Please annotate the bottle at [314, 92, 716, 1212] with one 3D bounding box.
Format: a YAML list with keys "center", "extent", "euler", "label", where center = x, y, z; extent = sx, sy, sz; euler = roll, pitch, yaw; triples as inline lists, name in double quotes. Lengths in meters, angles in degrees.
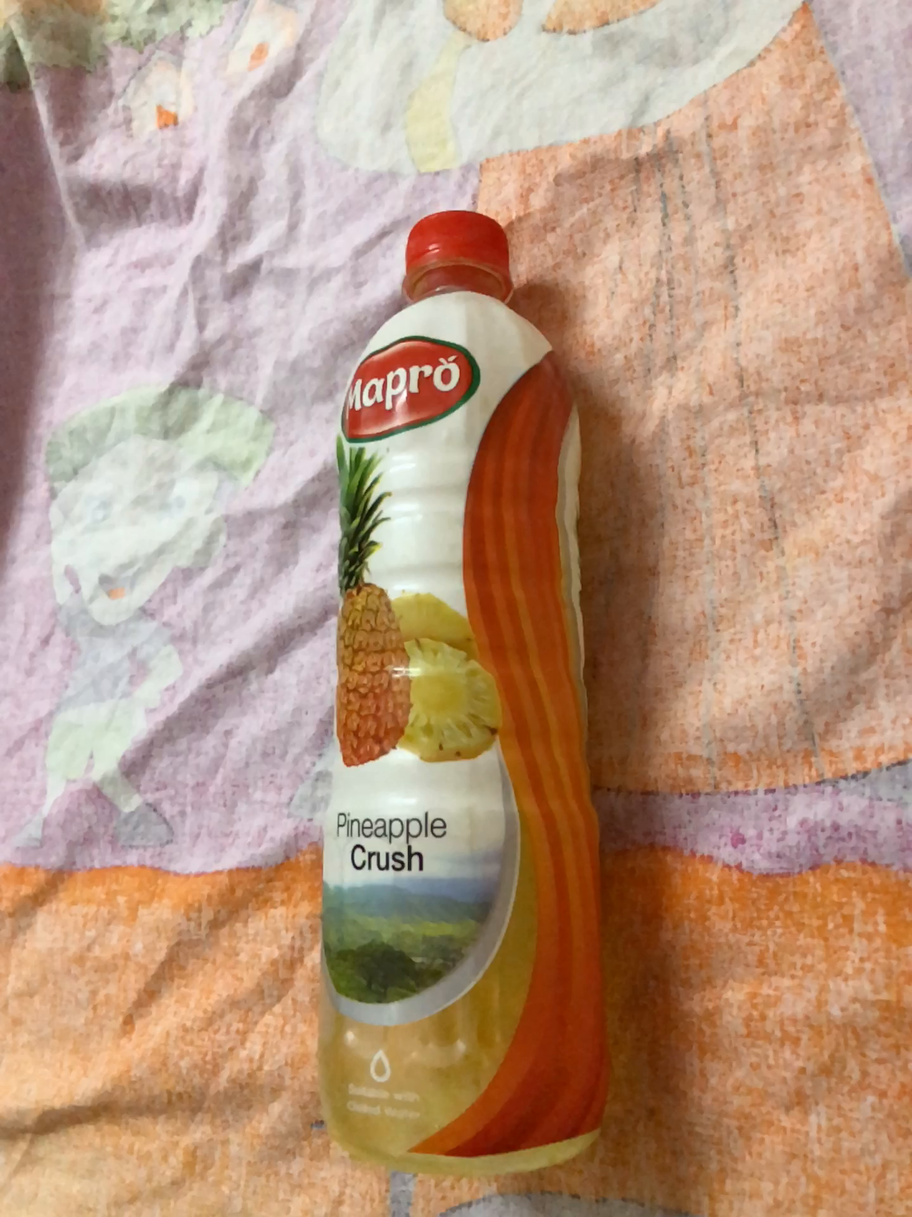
- center: [0.013, 0.006, 0.270]
  extent: [0.080, 0.060, 0.250]
  euler: [-7, 79, 31]
  label: "bottle"
